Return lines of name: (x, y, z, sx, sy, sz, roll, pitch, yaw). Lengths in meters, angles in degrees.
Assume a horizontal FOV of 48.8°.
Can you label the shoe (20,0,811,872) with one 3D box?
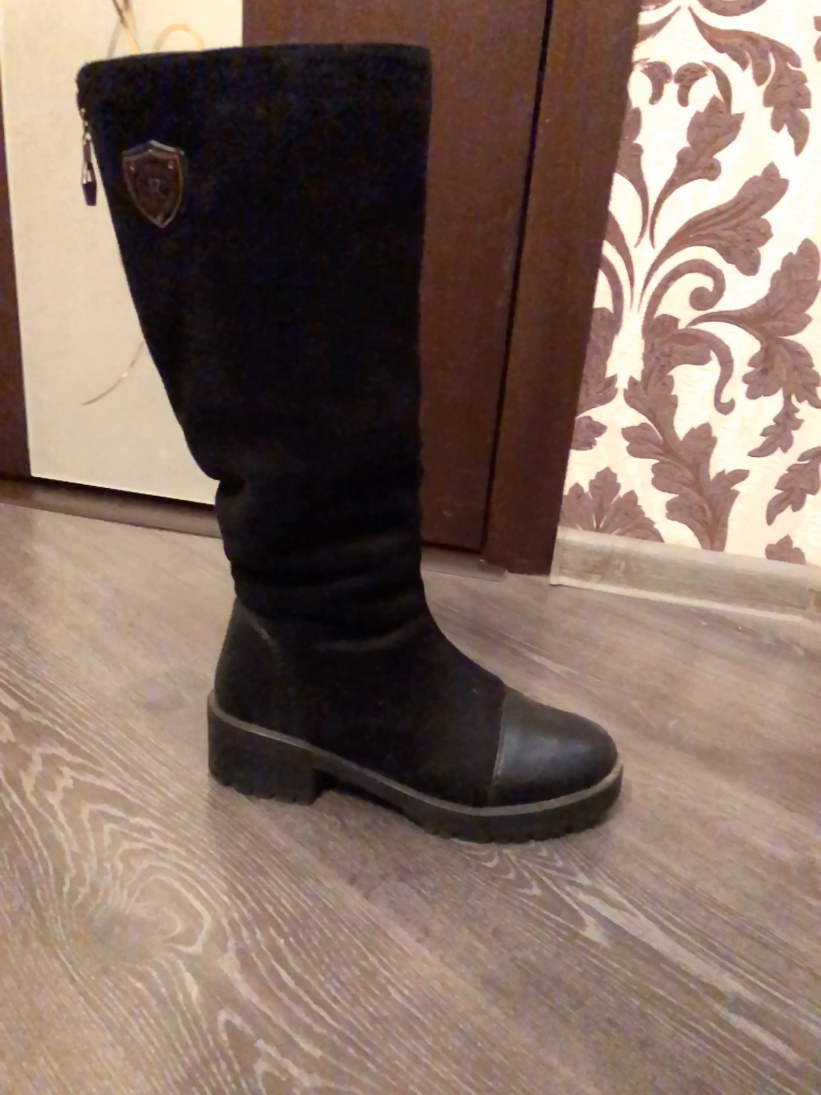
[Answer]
shoe: (-0.011, -0.046, 0.447, 0.290, 0.358, 0.121, 7, 21, 4)
